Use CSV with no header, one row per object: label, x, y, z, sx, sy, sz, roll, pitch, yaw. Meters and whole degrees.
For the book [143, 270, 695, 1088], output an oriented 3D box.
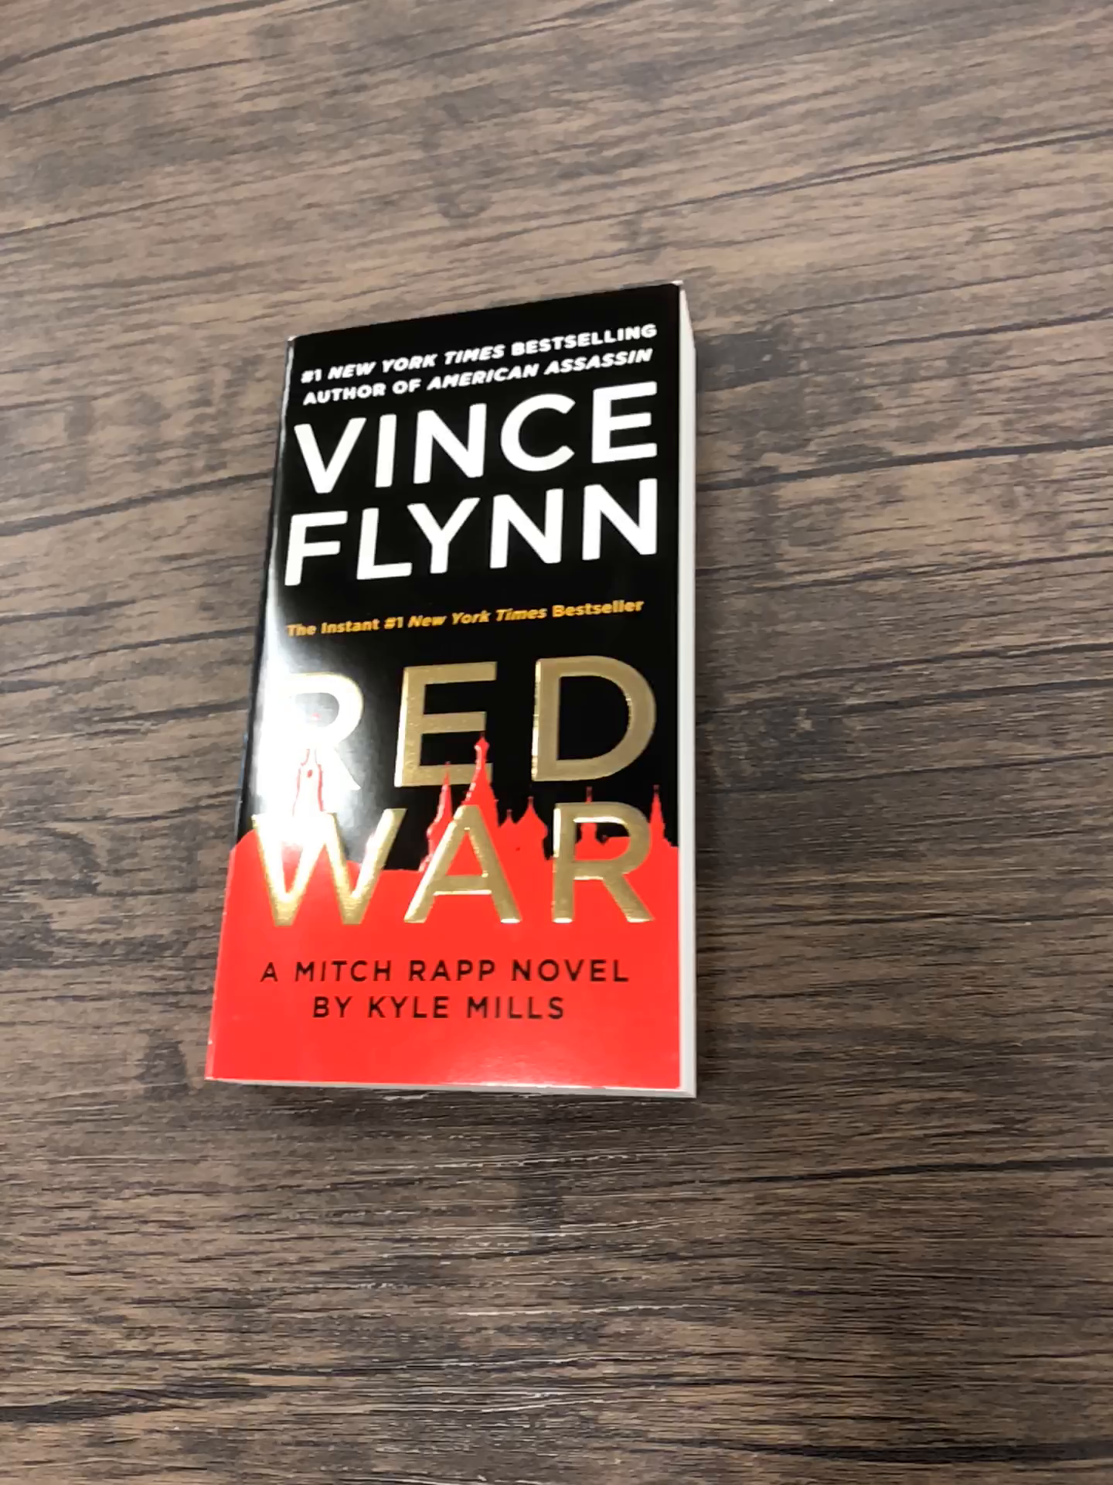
book,-0.026,-0.017,0.288,0.110,0.030,0.183,-3,70,13
